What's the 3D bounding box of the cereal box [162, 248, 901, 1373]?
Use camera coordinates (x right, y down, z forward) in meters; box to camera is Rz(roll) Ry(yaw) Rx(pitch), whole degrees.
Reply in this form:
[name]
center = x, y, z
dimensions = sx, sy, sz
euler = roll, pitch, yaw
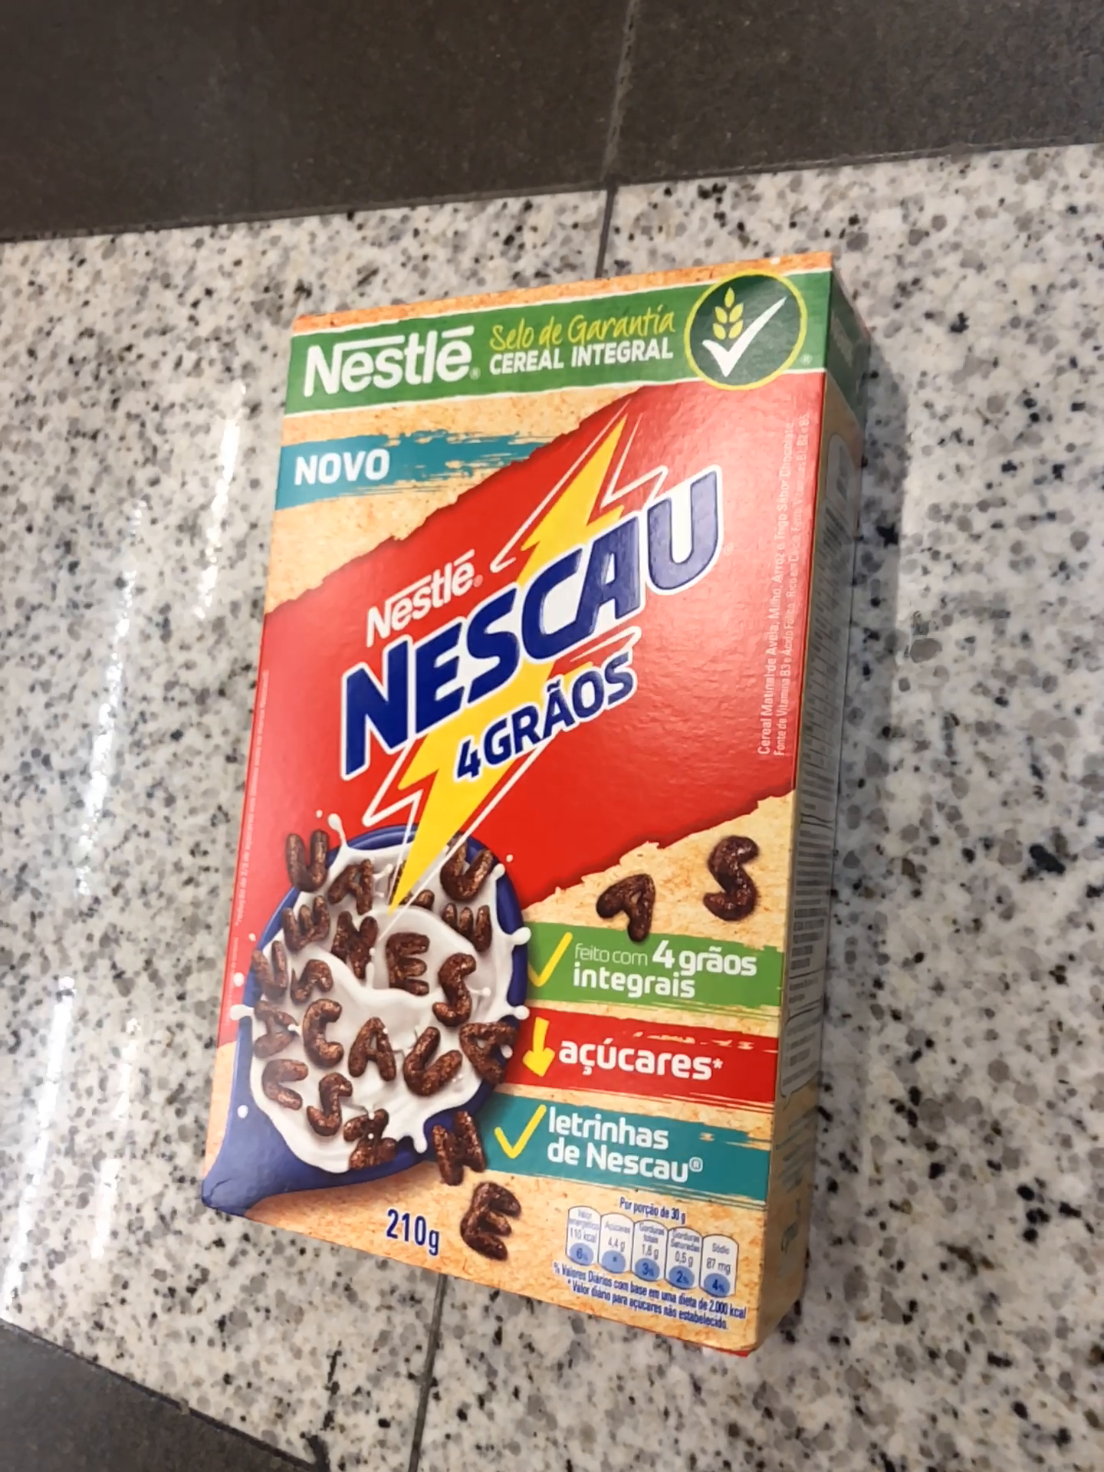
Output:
[cereal box]
center = -0.007, 0.011, 0.321
dimensions = 0.170, 0.050, 0.240
euler = 3, 85, 26
